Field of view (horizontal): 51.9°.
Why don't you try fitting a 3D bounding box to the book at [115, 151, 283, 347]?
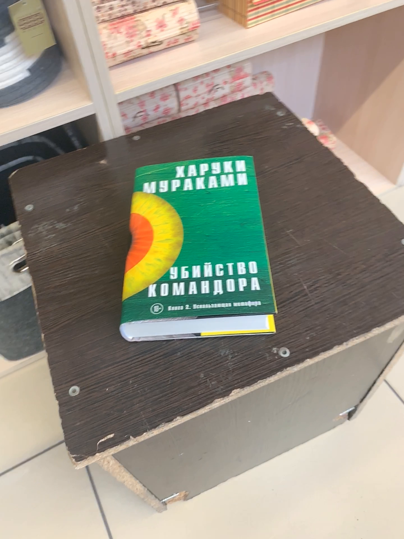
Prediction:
[{"bbox_3d":[-0.005,-0.031,0.450,0.150,0.050,0.217,-4,55,2],"label":"book"}]
